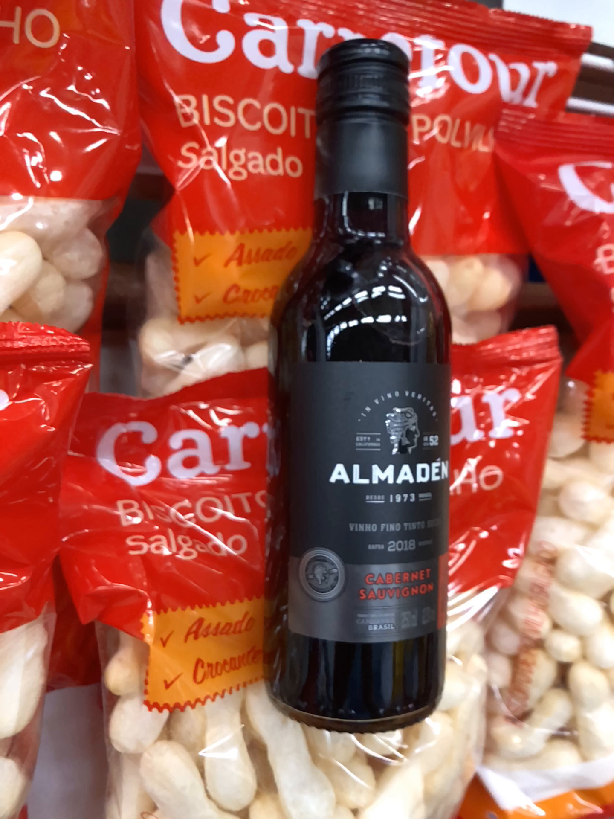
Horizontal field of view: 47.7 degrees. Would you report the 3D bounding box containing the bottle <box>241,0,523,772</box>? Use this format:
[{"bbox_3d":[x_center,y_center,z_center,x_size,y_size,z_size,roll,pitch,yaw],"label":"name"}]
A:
[{"bbox_3d":[0.019,-0.015,0.201,0.060,0.050,0.200,0,88,-26],"label":"bottle"}]
